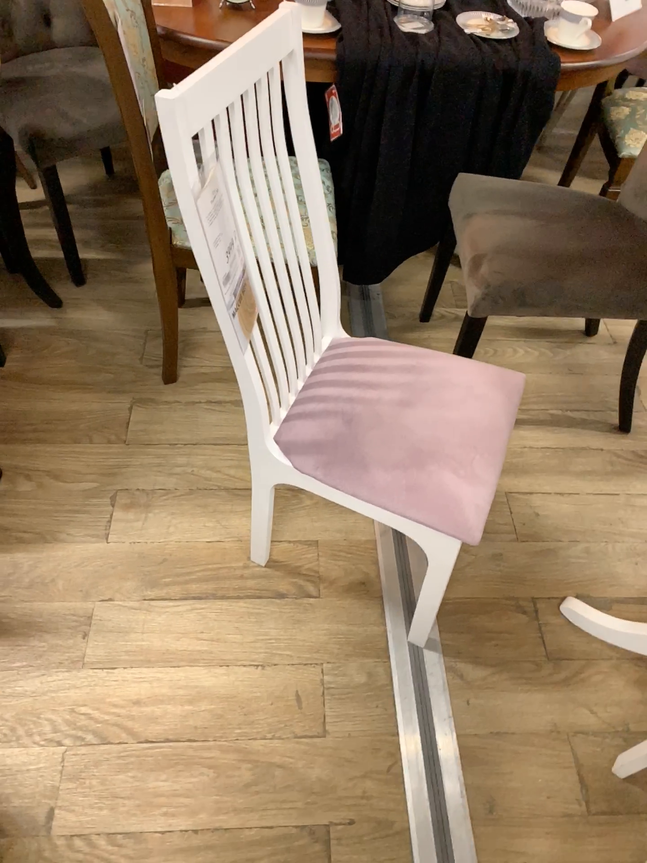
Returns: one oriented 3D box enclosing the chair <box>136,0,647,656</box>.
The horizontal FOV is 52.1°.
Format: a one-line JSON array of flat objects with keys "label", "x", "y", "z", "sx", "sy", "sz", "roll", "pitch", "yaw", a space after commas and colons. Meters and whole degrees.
[{"label": "chair", "x": 0.092, "y": -0.096, "z": 1.172, "sx": 0.520, "sy": 1.003, "sz": 0.442, "roll": 19, "pitch": 51, "yaw": 11}]
